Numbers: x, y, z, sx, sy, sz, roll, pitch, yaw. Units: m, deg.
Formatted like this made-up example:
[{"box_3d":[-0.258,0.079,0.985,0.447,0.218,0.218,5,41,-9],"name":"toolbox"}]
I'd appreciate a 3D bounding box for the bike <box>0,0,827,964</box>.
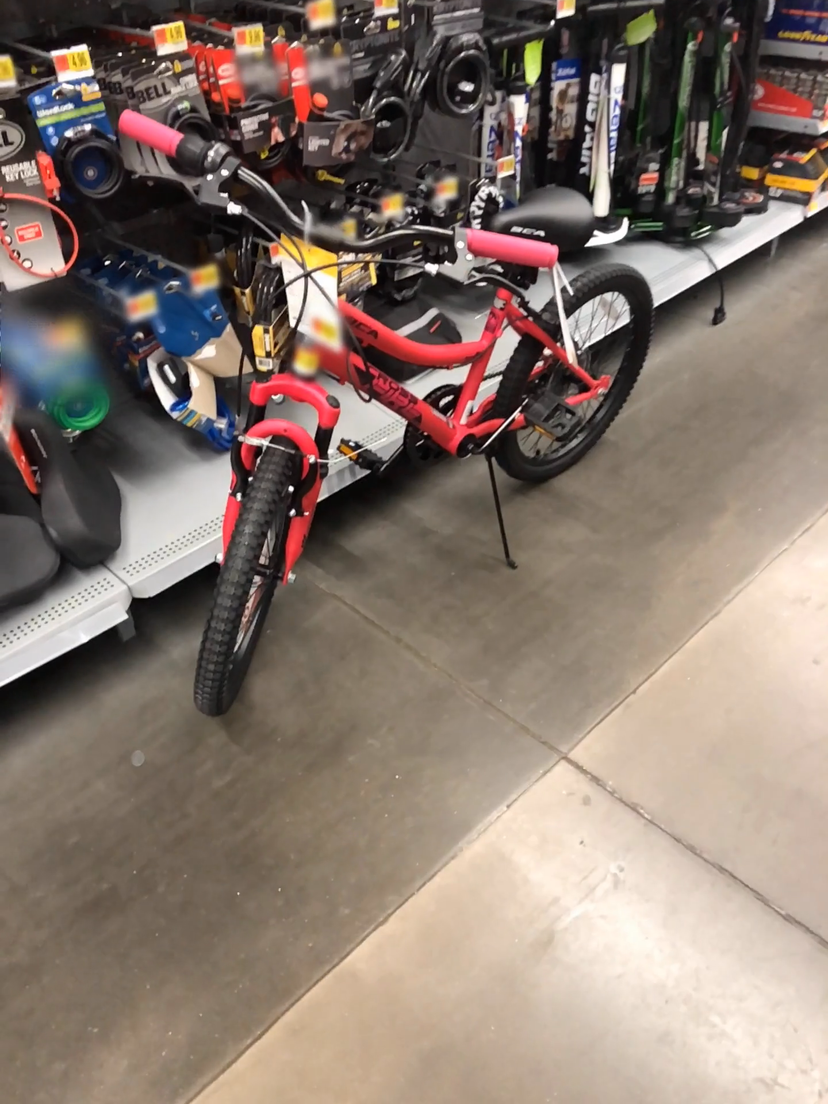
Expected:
[{"box_3d":[0.155,-0.252,1.431,0.609,0.877,1.228,28,49,32],"name":"bike"}]
